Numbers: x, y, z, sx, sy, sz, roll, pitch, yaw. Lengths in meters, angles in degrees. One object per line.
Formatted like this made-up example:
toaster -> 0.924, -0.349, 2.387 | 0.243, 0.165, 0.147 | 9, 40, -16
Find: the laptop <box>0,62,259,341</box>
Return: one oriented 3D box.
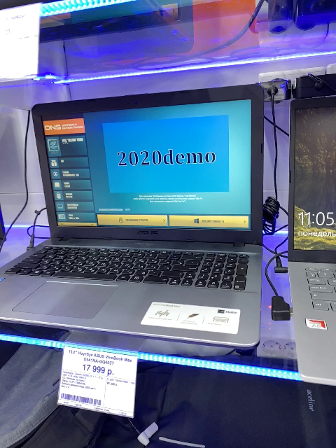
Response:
laptop -> -0.076, -0.046, 0.452 | 0.372, 0.232, 0.263 | 0, 17, 16
